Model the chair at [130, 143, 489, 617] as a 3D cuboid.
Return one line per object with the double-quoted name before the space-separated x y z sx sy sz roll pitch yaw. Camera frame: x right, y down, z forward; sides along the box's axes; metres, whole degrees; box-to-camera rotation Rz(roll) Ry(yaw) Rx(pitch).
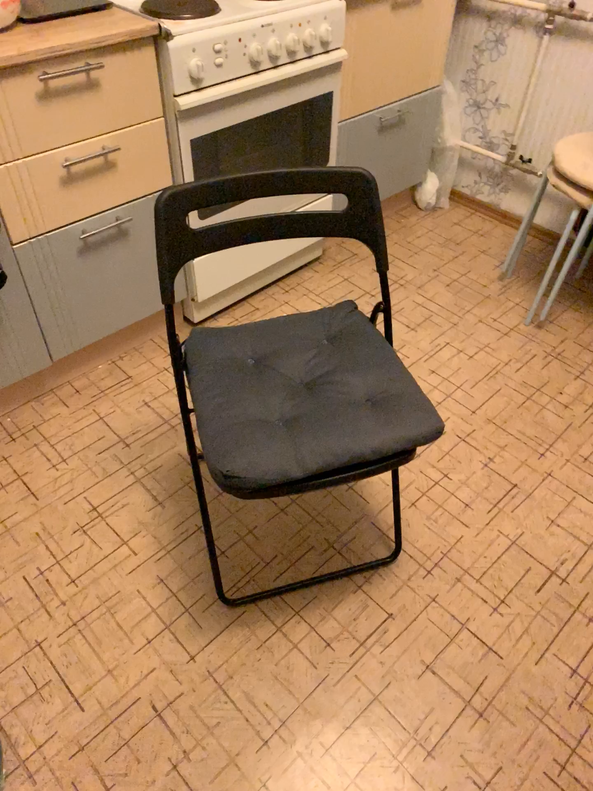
"chair" -0.020 -0.008 1.241 0.440 0.776 0.482 -12 47 -14
